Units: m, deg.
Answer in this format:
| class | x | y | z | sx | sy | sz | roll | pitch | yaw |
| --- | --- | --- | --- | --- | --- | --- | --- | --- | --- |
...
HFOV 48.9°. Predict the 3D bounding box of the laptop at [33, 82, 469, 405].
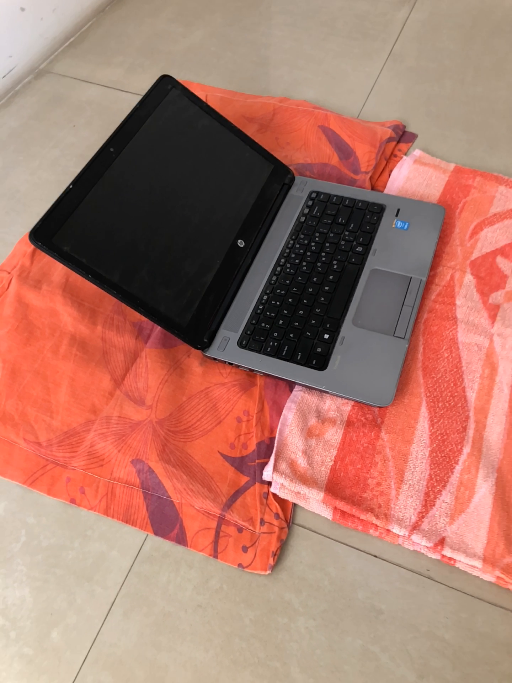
| class | x | y | z | sx | sy | sz | roll | pitch | yaw |
| --- | --- | --- | --- | --- | --- | --- | --- | --- | --- |
| laptop | 0.009 | -0.146 | 0.693 | 0.410 | 0.111 | 0.330 | 17 | 57 | 14 |
